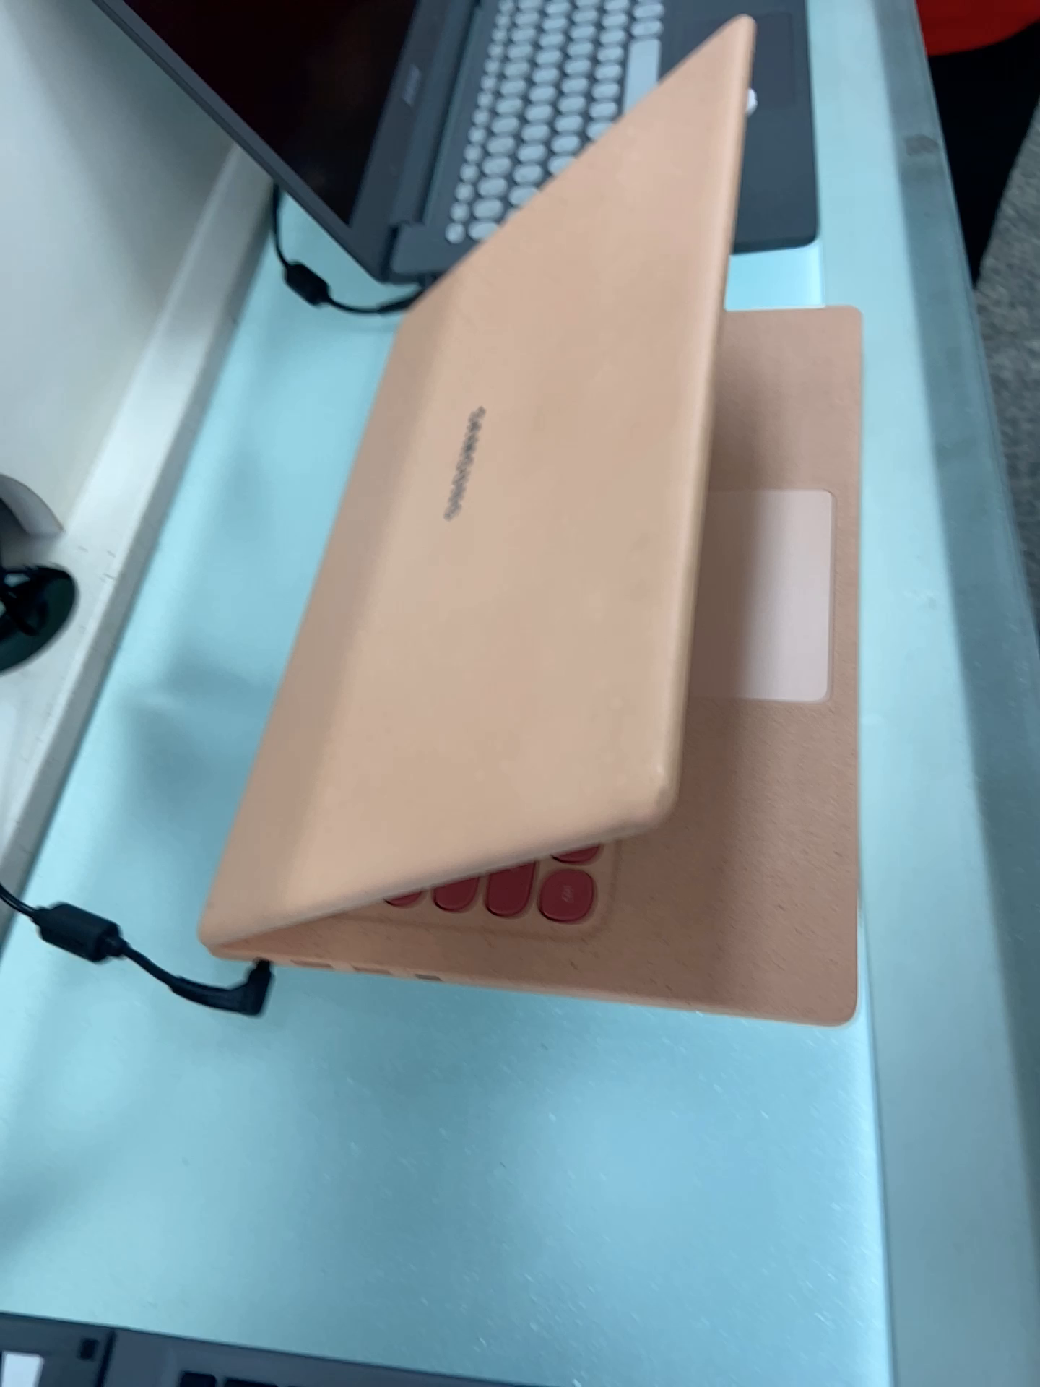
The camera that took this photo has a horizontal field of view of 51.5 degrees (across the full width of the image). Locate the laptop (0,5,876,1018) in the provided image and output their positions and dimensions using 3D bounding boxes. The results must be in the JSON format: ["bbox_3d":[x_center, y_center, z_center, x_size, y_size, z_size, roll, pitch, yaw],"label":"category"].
[{"bbox_3d":[0.008,-0.079,0.378,0.210,0.129,0.324,2,57,14],"label":"laptop"}]
